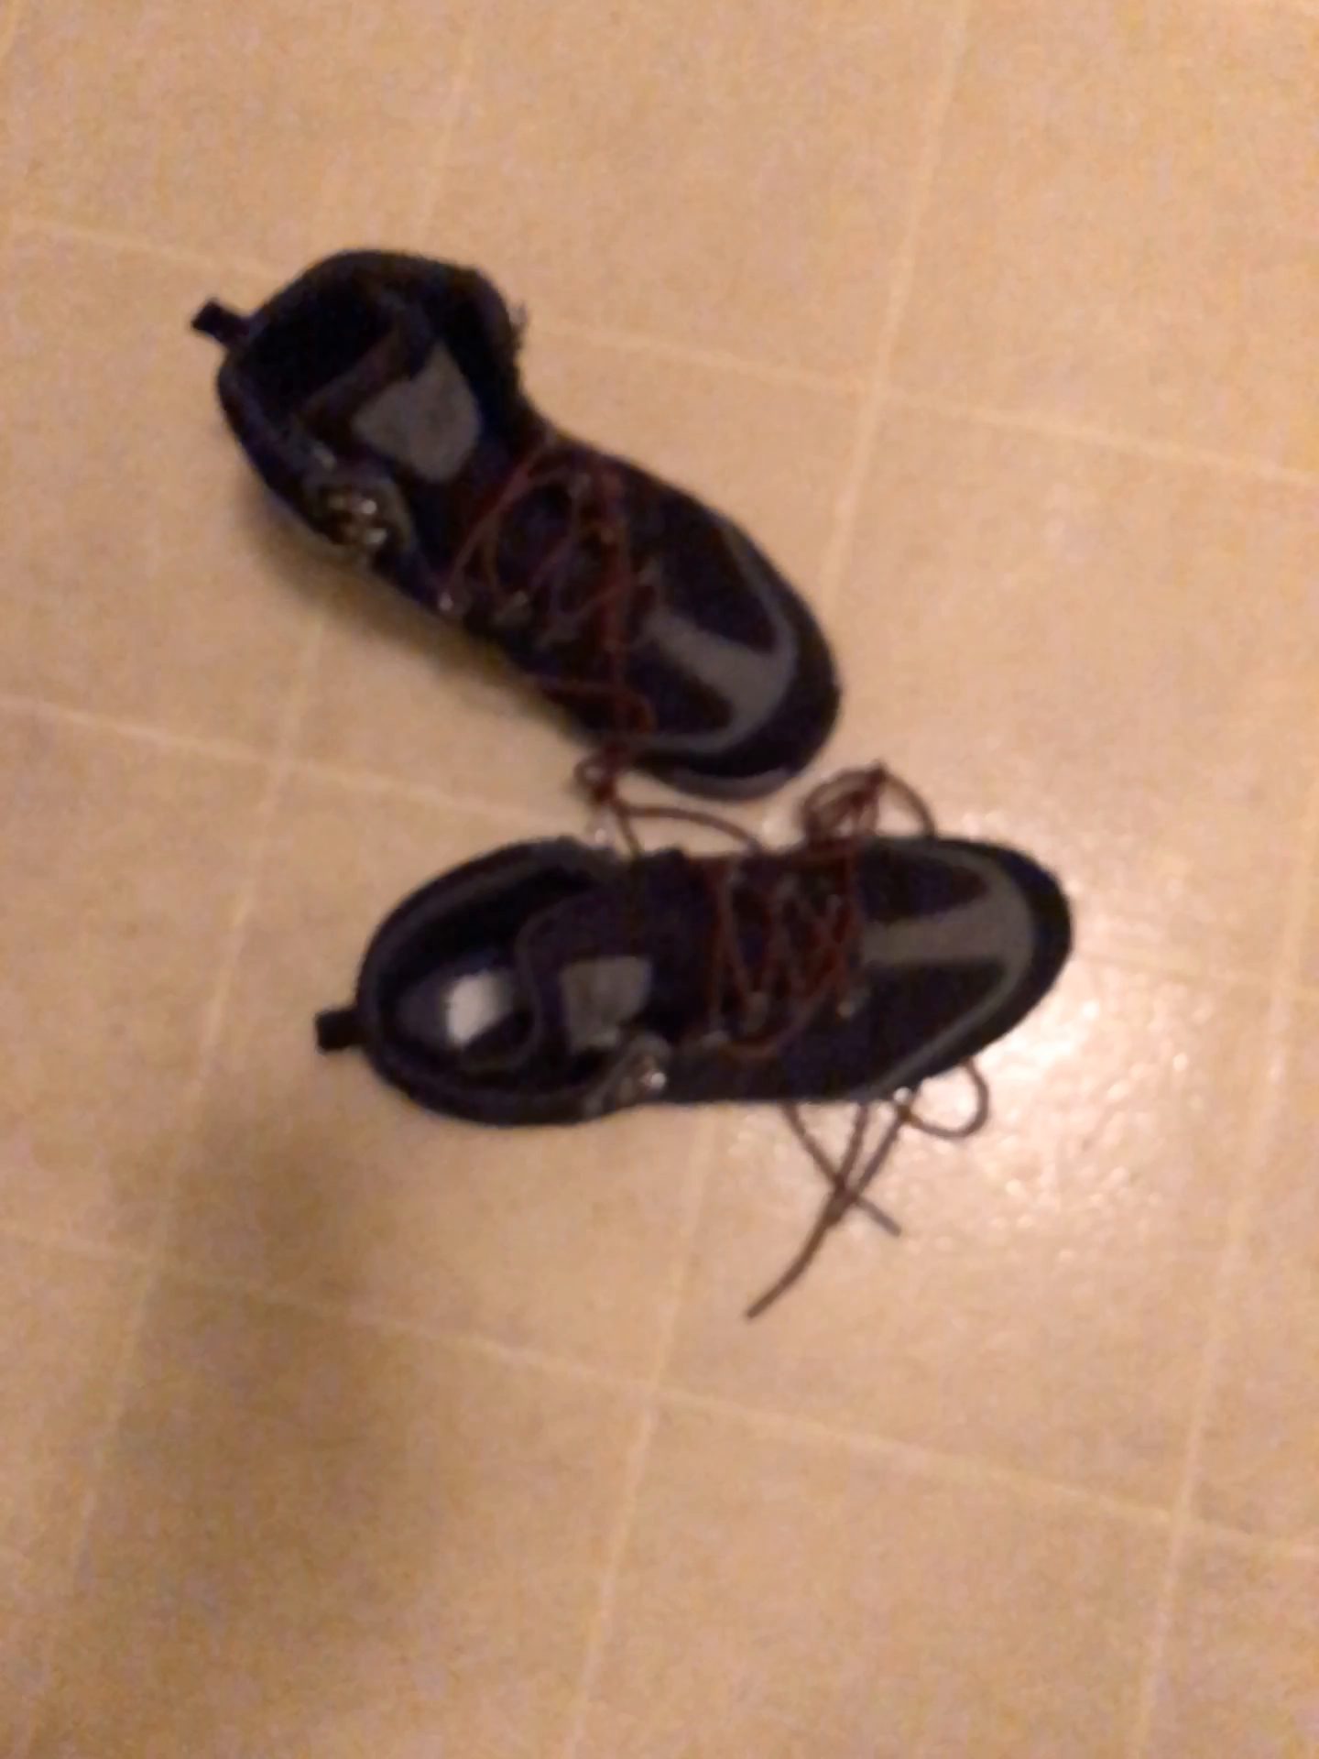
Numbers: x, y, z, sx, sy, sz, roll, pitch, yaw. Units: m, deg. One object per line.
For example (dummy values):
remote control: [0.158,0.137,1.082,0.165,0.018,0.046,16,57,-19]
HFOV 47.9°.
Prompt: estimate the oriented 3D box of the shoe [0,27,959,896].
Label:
shoe: [-0.061,-0.143,0.585,0.309,0.196,0.126,35,86,7]

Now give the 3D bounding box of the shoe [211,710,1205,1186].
shoe: [0.016,0.033,0.560,0.299,0.196,0.116,-7,83,3]
